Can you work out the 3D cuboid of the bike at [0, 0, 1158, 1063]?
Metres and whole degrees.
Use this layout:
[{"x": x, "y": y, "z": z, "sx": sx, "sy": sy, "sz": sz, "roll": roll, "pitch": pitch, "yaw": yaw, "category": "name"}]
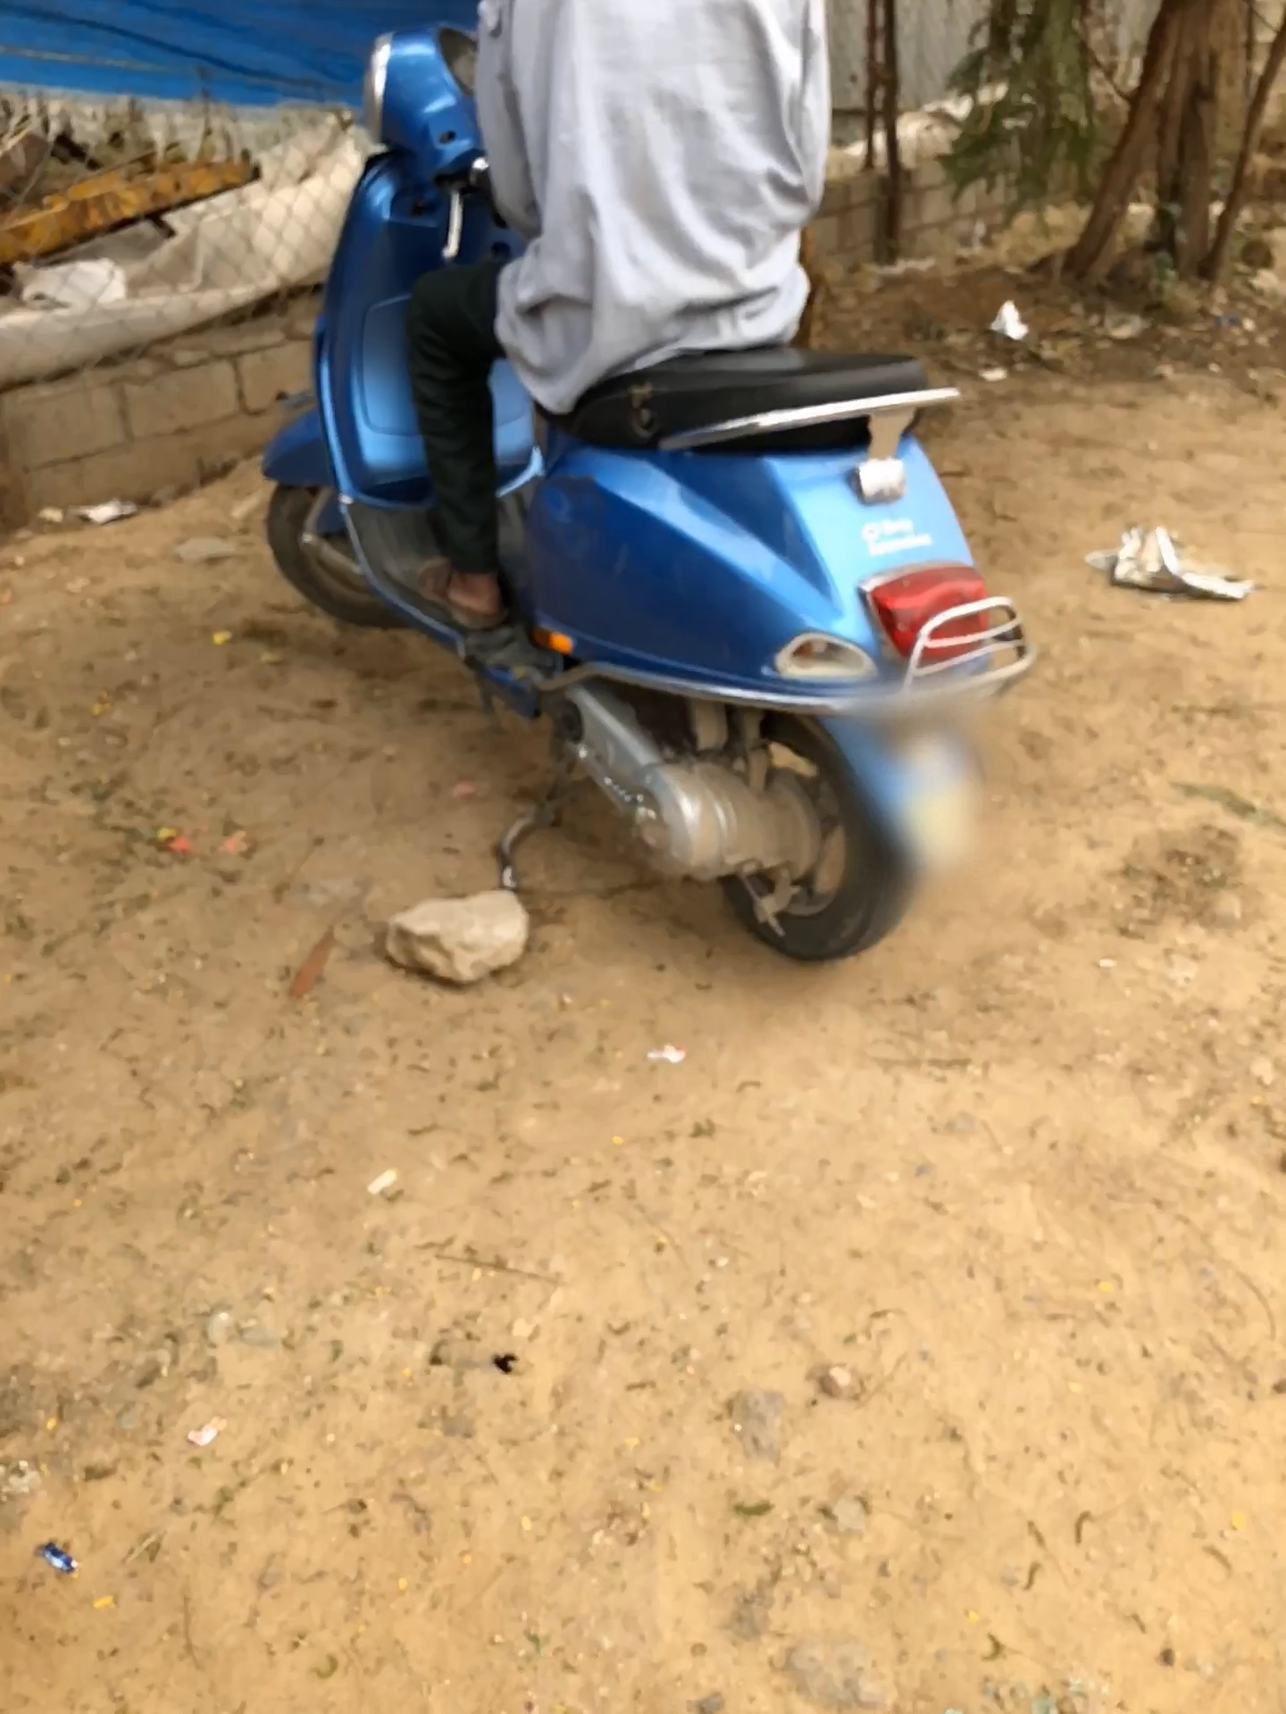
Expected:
[{"x": -0.188, "y": -0.725, "z": 2.235, "sx": 0.634, "sy": 1.253, "sz": 1.568, "roll": -27, "pitch": 43, "yaw": -35, "category": "bike"}]
